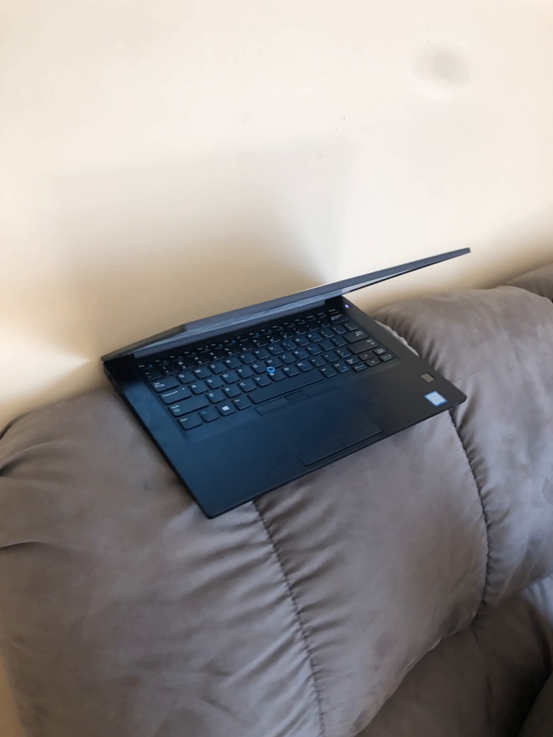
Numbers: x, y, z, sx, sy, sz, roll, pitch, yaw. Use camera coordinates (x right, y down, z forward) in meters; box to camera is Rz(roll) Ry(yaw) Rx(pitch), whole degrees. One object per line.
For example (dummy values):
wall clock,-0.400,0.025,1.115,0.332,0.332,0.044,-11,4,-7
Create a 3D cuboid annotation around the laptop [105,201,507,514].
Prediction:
laptop,0.029,-0.040,0.607,0.321,0.128,0.213,-18,45,-32
